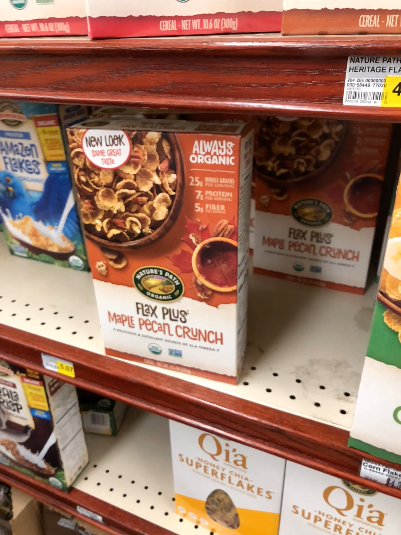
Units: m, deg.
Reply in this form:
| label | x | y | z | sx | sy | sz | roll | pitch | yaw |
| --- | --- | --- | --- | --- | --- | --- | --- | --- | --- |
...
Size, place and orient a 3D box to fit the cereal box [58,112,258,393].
| label | x | y | z | sx | sy | sz | roll | pitch | yaw |
| --- | --- | --- | --- | --- | --- | --- | --- | --- | --- |
| cereal box | -0.032 | -0.011 | 0.444 | 0.160 | 0.259 | 0.060 | 9 | 31 | 19 |
